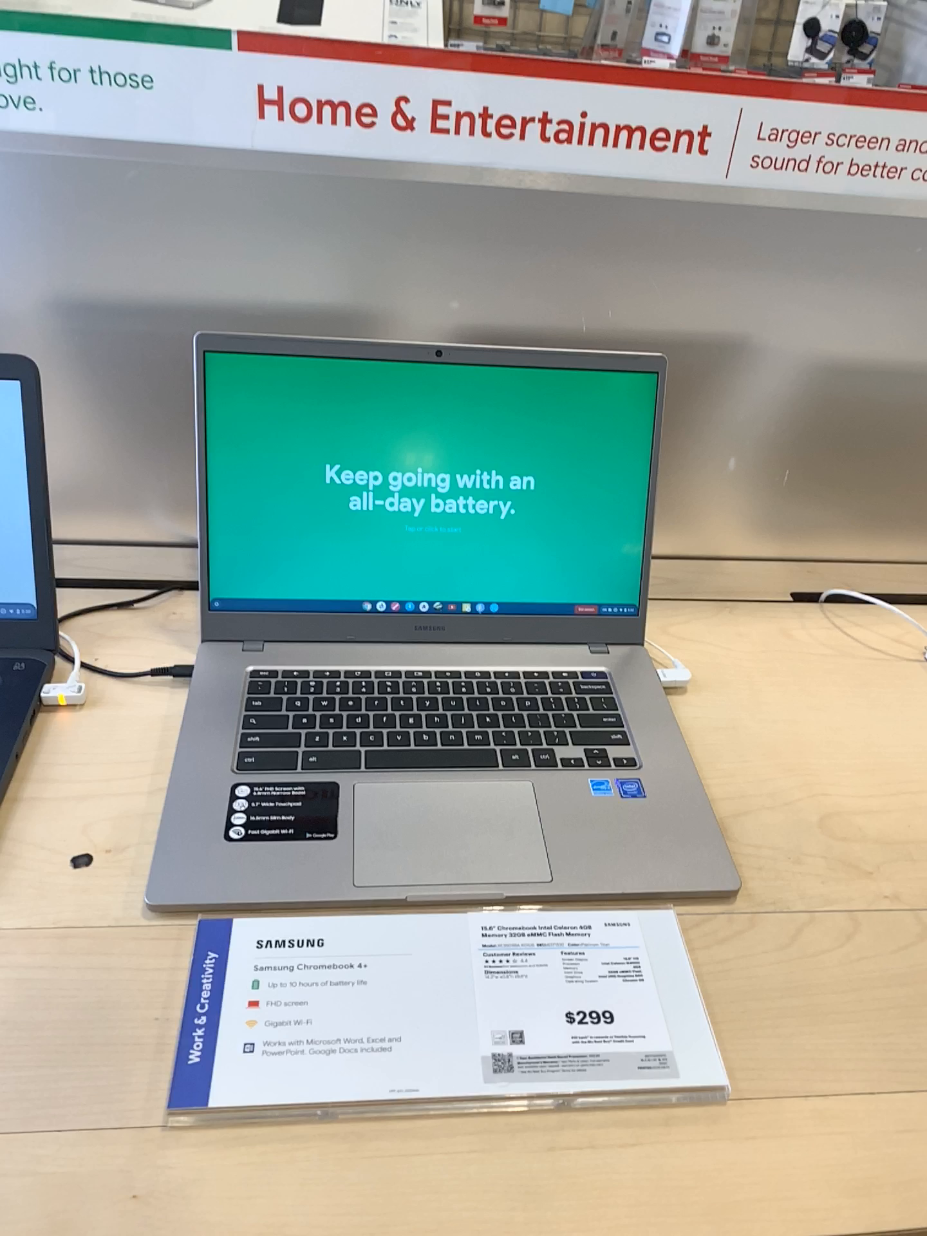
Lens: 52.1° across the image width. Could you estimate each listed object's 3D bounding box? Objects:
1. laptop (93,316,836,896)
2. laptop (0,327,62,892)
[{"bbox_3d":[-0.016,-0.028,0.635,0.351,0.205,0.339,1,37,-7],"label":"laptop"},{"bbox_3d":[-0.456,-0.020,0.574,0.320,0.193,0.295,0,35,-9],"label":"laptop"}]
